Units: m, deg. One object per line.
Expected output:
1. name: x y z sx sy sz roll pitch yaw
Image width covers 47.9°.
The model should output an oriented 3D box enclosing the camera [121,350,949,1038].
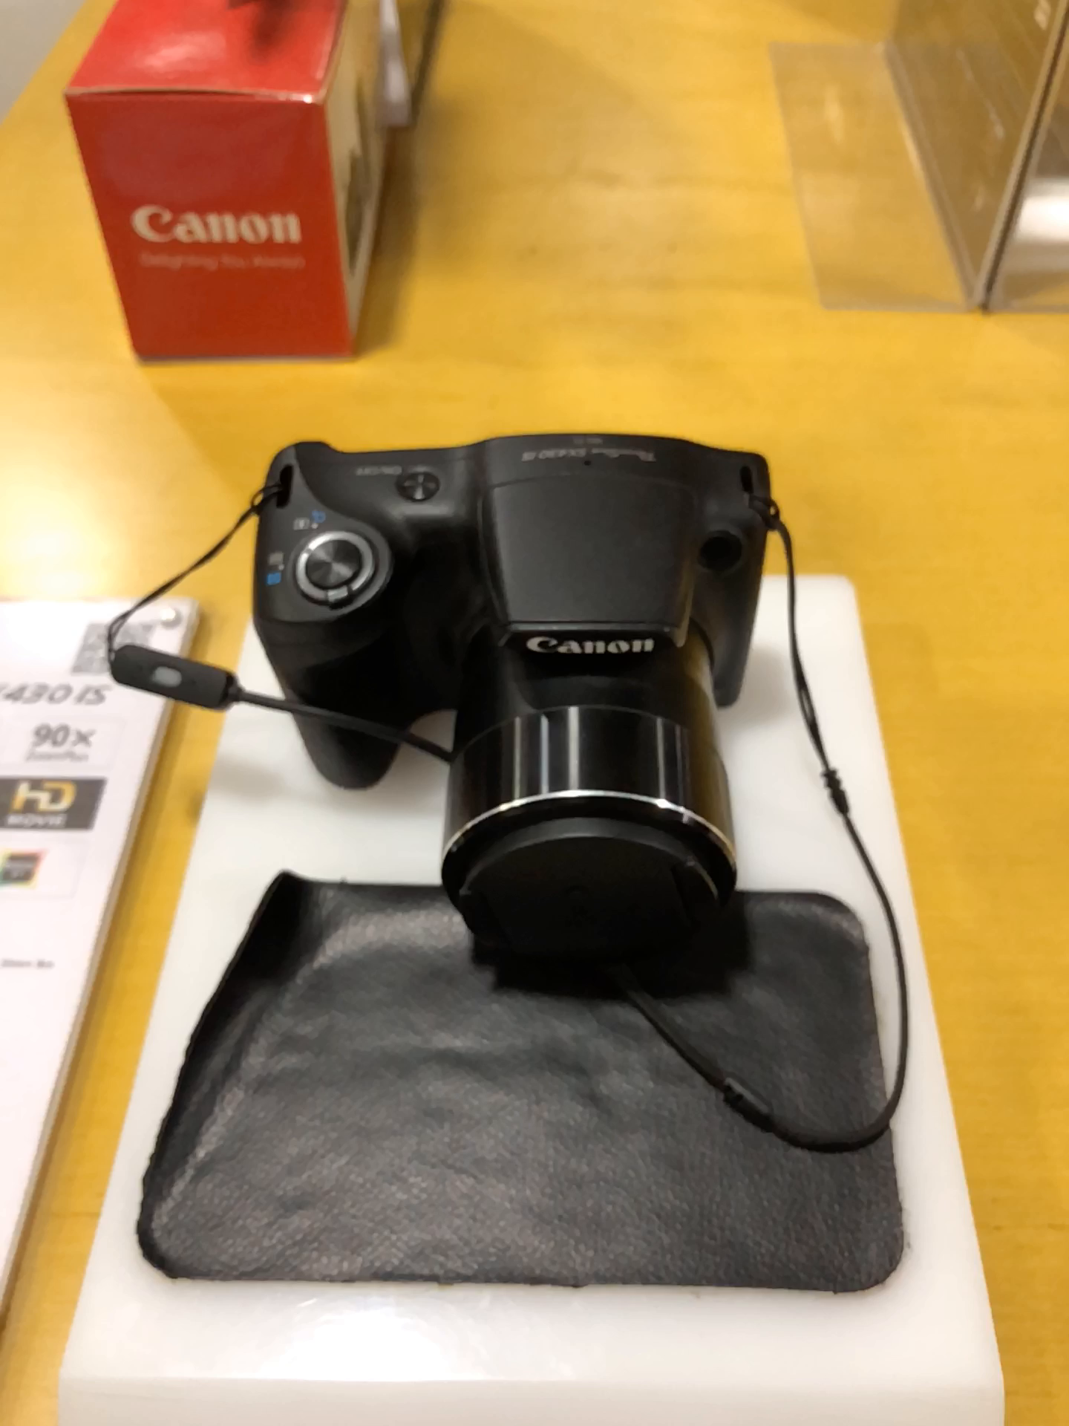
1. camera: 0.001 -0.002 0.223 0.110 0.089 0.091 0 50 1
